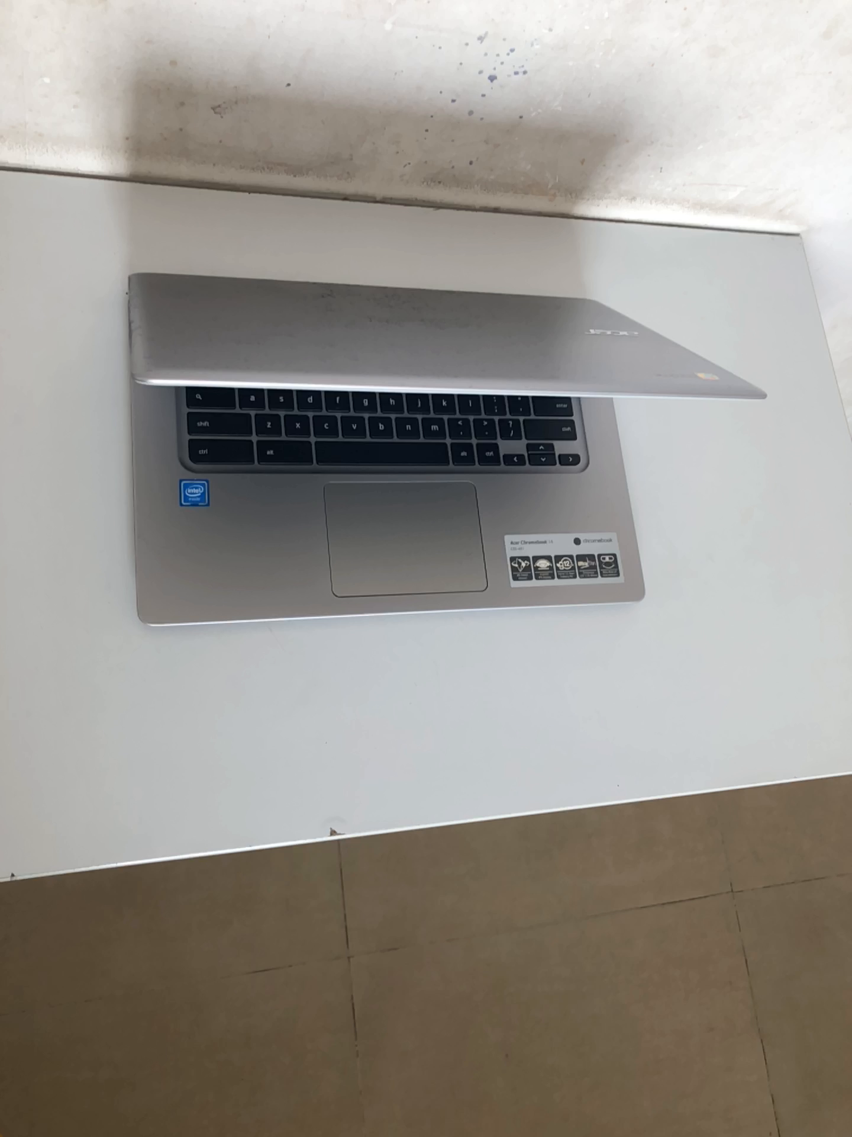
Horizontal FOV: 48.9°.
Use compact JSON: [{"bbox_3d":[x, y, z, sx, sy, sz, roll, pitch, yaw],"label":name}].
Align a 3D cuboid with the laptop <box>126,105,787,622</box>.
[{"bbox_3d":[0.001,-0.103,0.546,0.326,0.155,0.222,-2,74,-17],"label":"laptop"}]
